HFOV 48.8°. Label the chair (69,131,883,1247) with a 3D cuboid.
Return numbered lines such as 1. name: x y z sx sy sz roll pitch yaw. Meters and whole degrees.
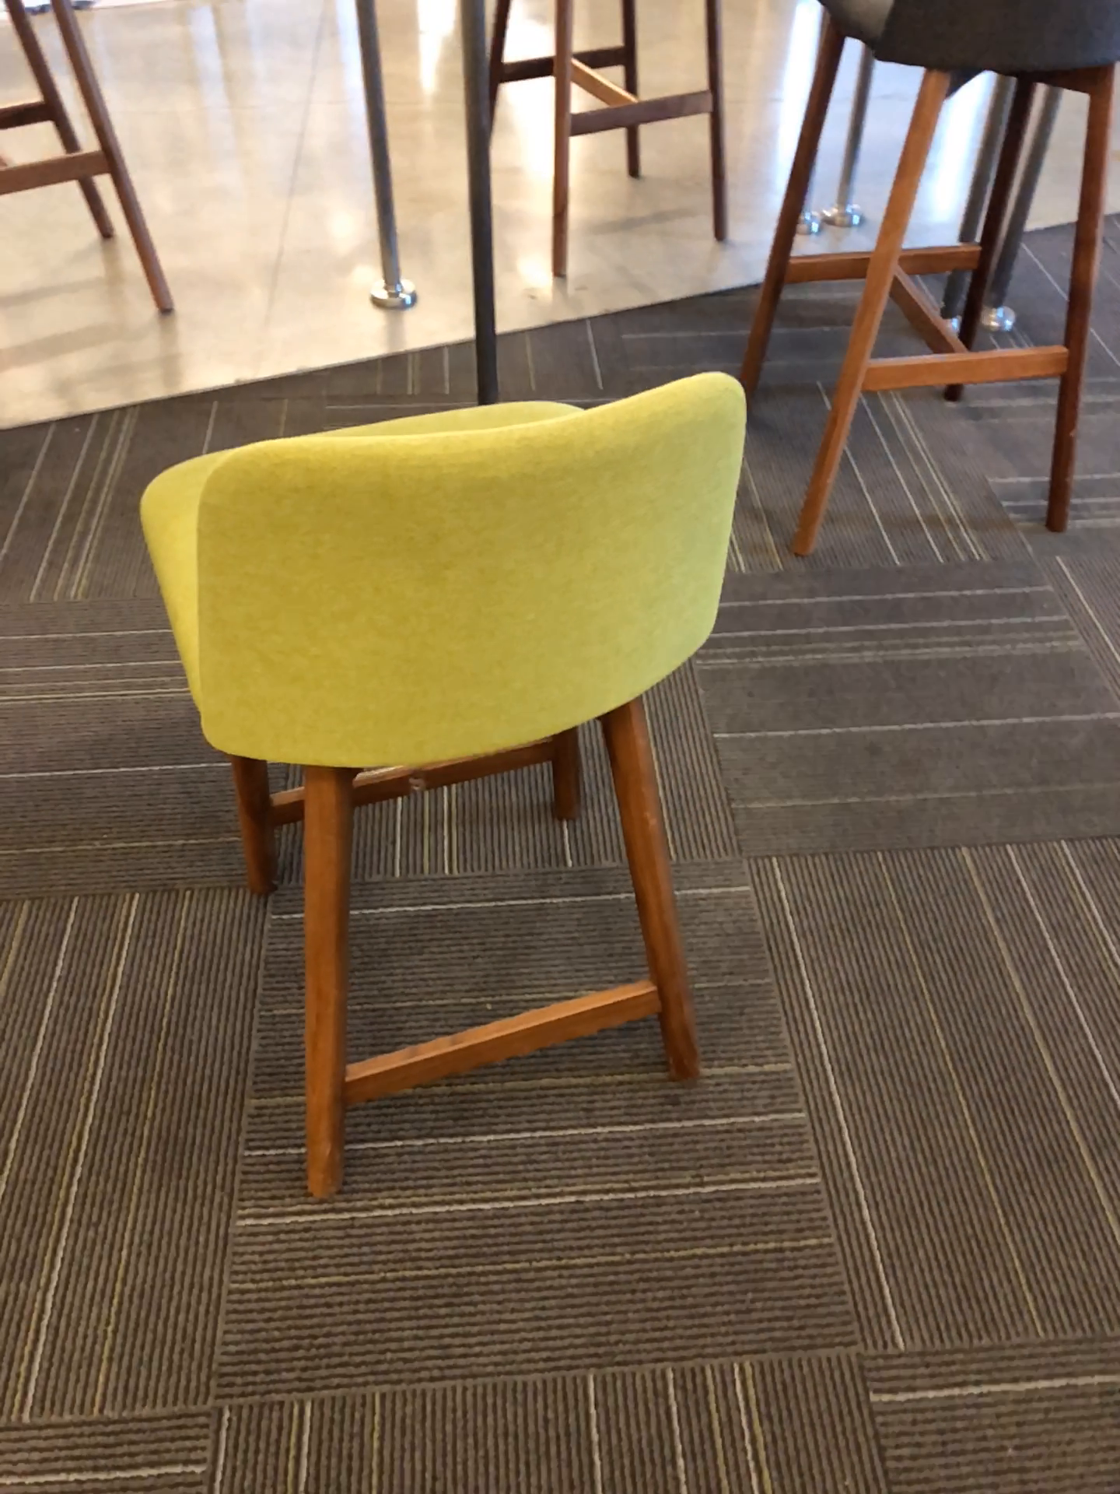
1. chair: -0.102 -0.020 1.192 0.460 0.876 0.512 -13 46 -14
